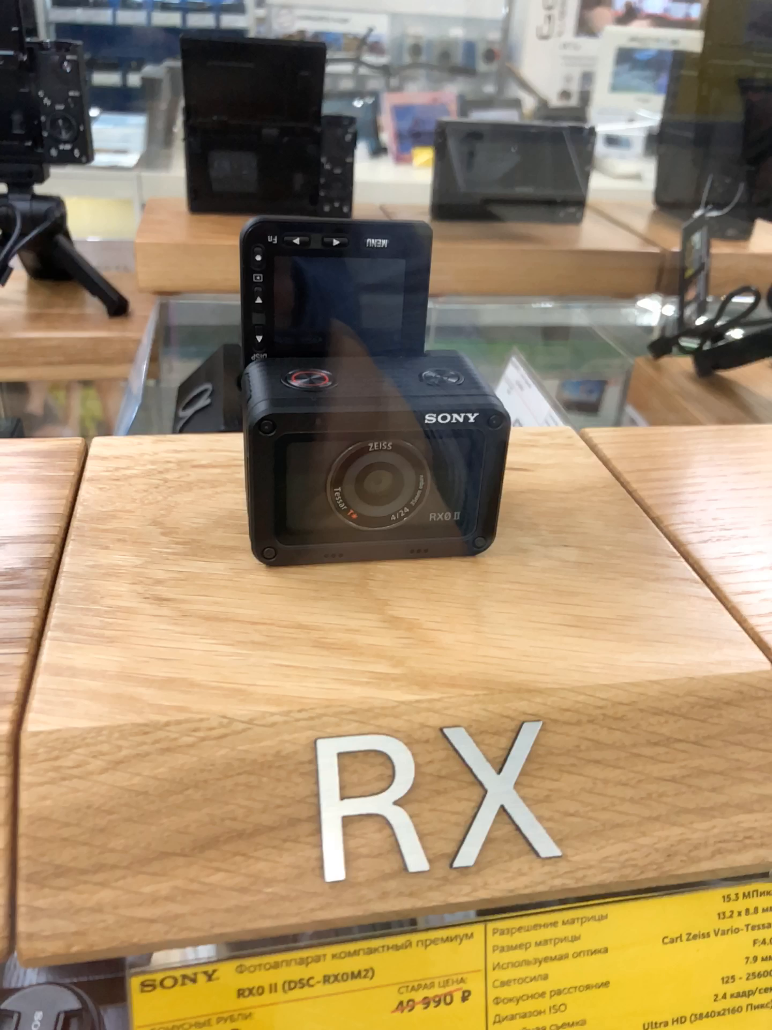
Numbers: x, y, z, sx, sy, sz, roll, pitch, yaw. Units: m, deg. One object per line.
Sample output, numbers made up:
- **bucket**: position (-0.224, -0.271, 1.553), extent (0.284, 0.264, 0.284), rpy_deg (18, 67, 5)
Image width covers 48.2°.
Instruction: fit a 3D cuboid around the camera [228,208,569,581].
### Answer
- **camera**: position (-0.002, -0.029, 0.195), extent (0.062, 0.067, 0.050), rpy_deg (-3, 31, -10)
